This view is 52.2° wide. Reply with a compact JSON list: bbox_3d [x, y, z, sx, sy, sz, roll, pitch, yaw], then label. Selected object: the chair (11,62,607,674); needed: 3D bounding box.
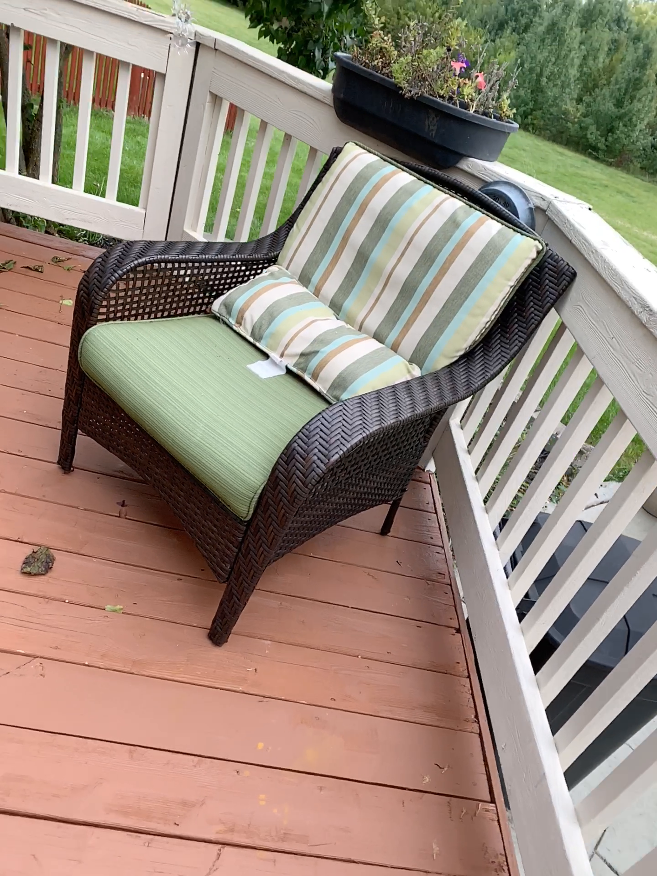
[{"bbox_3d":[-0.086,-0.216,1.532,0.813,0.823,0.862,39,36,28],"label":"chair"}]
